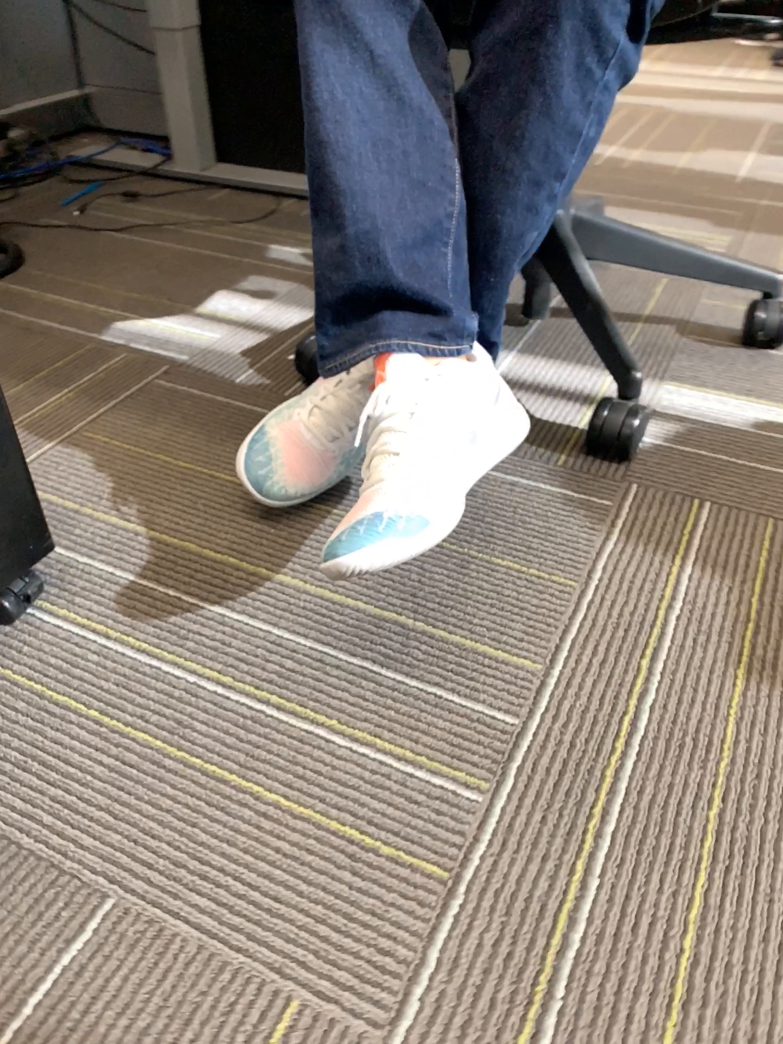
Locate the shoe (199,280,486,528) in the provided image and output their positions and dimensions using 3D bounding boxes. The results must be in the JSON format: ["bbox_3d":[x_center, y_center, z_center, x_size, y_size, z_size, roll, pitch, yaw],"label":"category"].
[{"bbox_3d":[-0.045,-0.132,0.847,0.115,0.108,0.287,46,51,7],"label":"shoe"}]

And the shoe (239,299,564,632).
[{"bbox_3d":[0.017,-0.053,0.667,0.113,0.108,0.266,46,53,-7],"label":"shoe"}]
